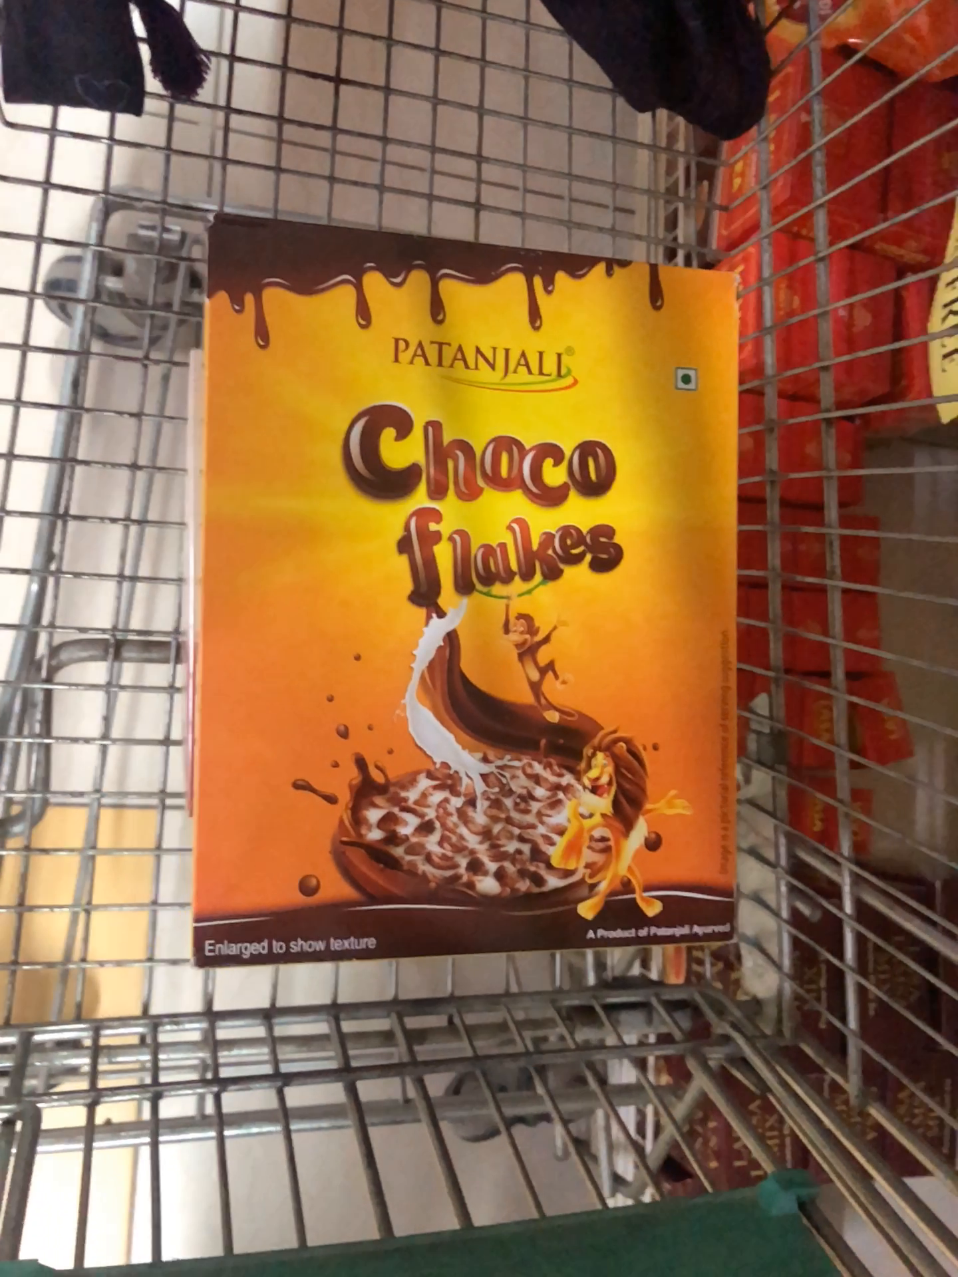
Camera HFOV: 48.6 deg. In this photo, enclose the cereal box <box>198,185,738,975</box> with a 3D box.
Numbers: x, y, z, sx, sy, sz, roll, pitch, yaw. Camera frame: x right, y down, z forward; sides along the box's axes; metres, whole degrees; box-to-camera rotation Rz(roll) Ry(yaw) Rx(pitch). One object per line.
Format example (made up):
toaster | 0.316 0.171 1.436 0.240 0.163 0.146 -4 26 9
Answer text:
cereal box | -0.011 -0.015 0.383 0.170 0.110 0.230 1 88 -15
